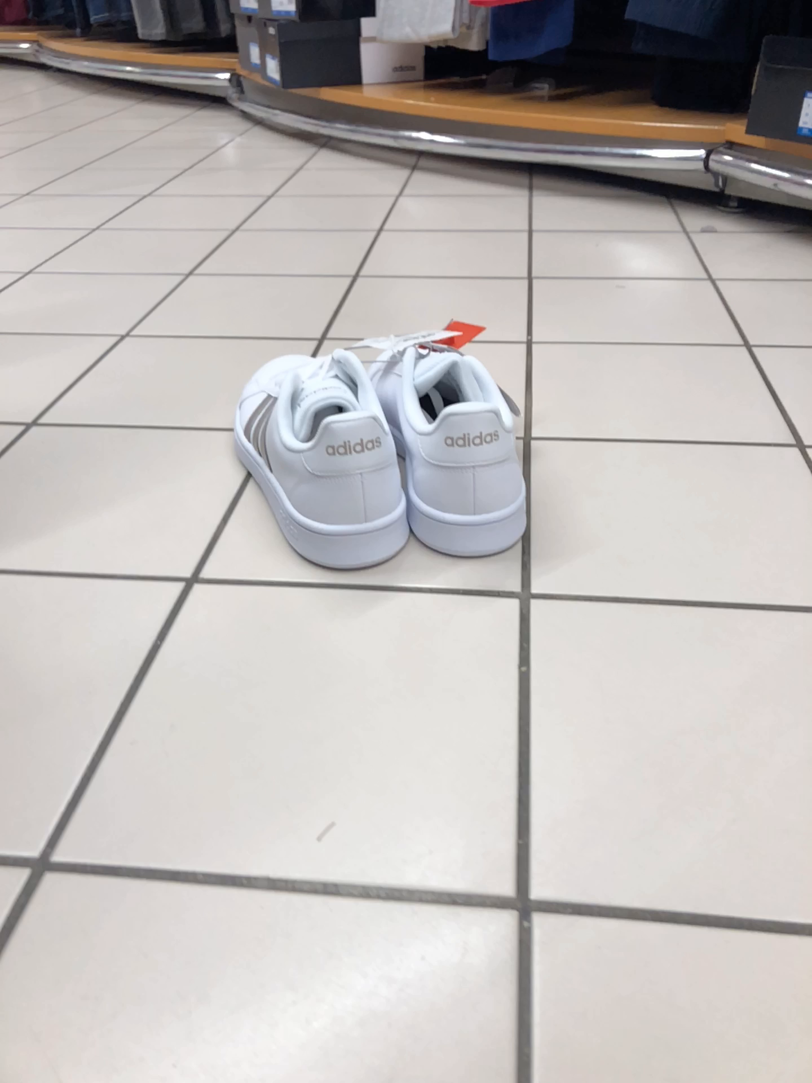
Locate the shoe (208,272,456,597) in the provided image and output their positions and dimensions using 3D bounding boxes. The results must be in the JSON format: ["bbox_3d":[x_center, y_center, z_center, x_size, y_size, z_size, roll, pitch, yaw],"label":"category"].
[{"bbox_3d":[-0.062,-0.092,0.617,0.100,0.099,0.281,-11,35,-14],"label":"shoe"}]

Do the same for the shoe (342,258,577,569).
[{"bbox_3d":[0.023,-0.107,0.629,0.100,0.099,0.282,-6,34,-7],"label":"shoe"}]
